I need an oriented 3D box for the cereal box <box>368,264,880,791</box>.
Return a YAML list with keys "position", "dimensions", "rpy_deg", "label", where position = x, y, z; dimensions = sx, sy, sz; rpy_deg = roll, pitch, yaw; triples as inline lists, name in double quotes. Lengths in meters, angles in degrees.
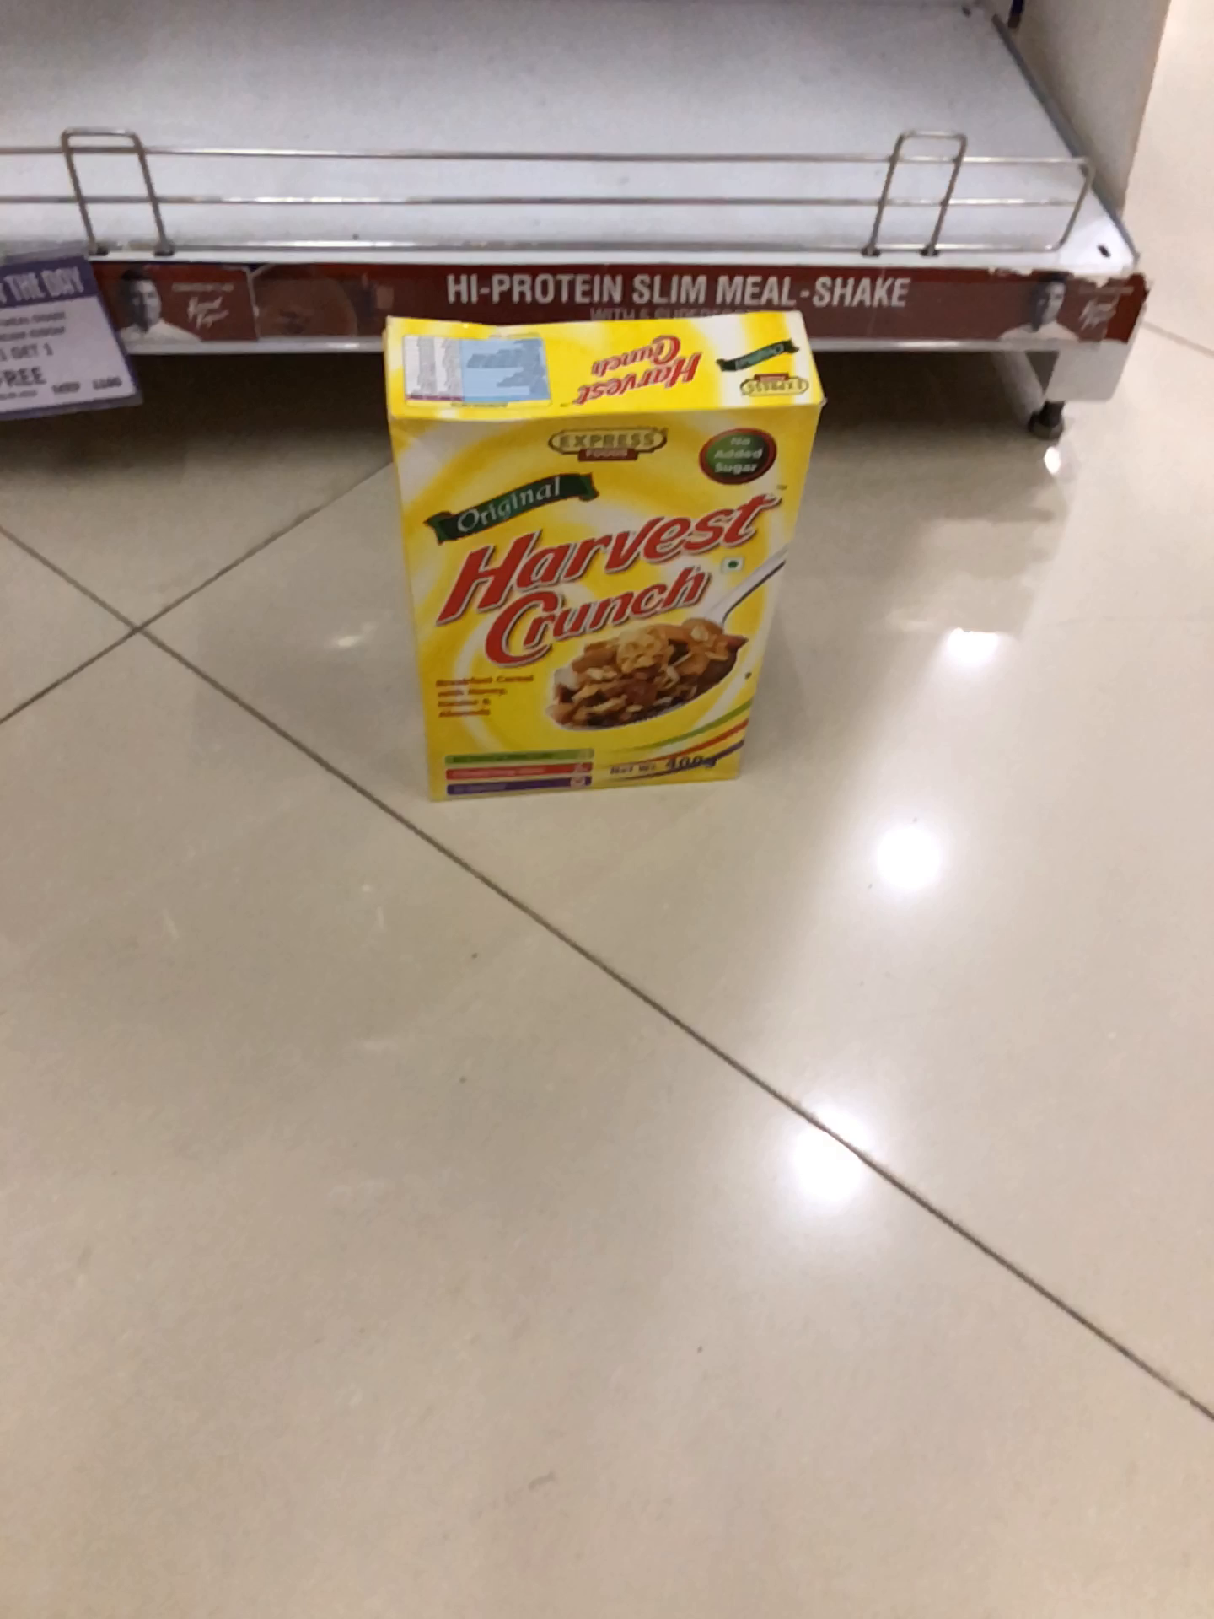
- position: [-0.001, -0.097, 0.518]
  dimensions: [0.160, 0.209, 0.050]
  rpy_deg: [-5, 54, -8]
  label: "cereal box"
